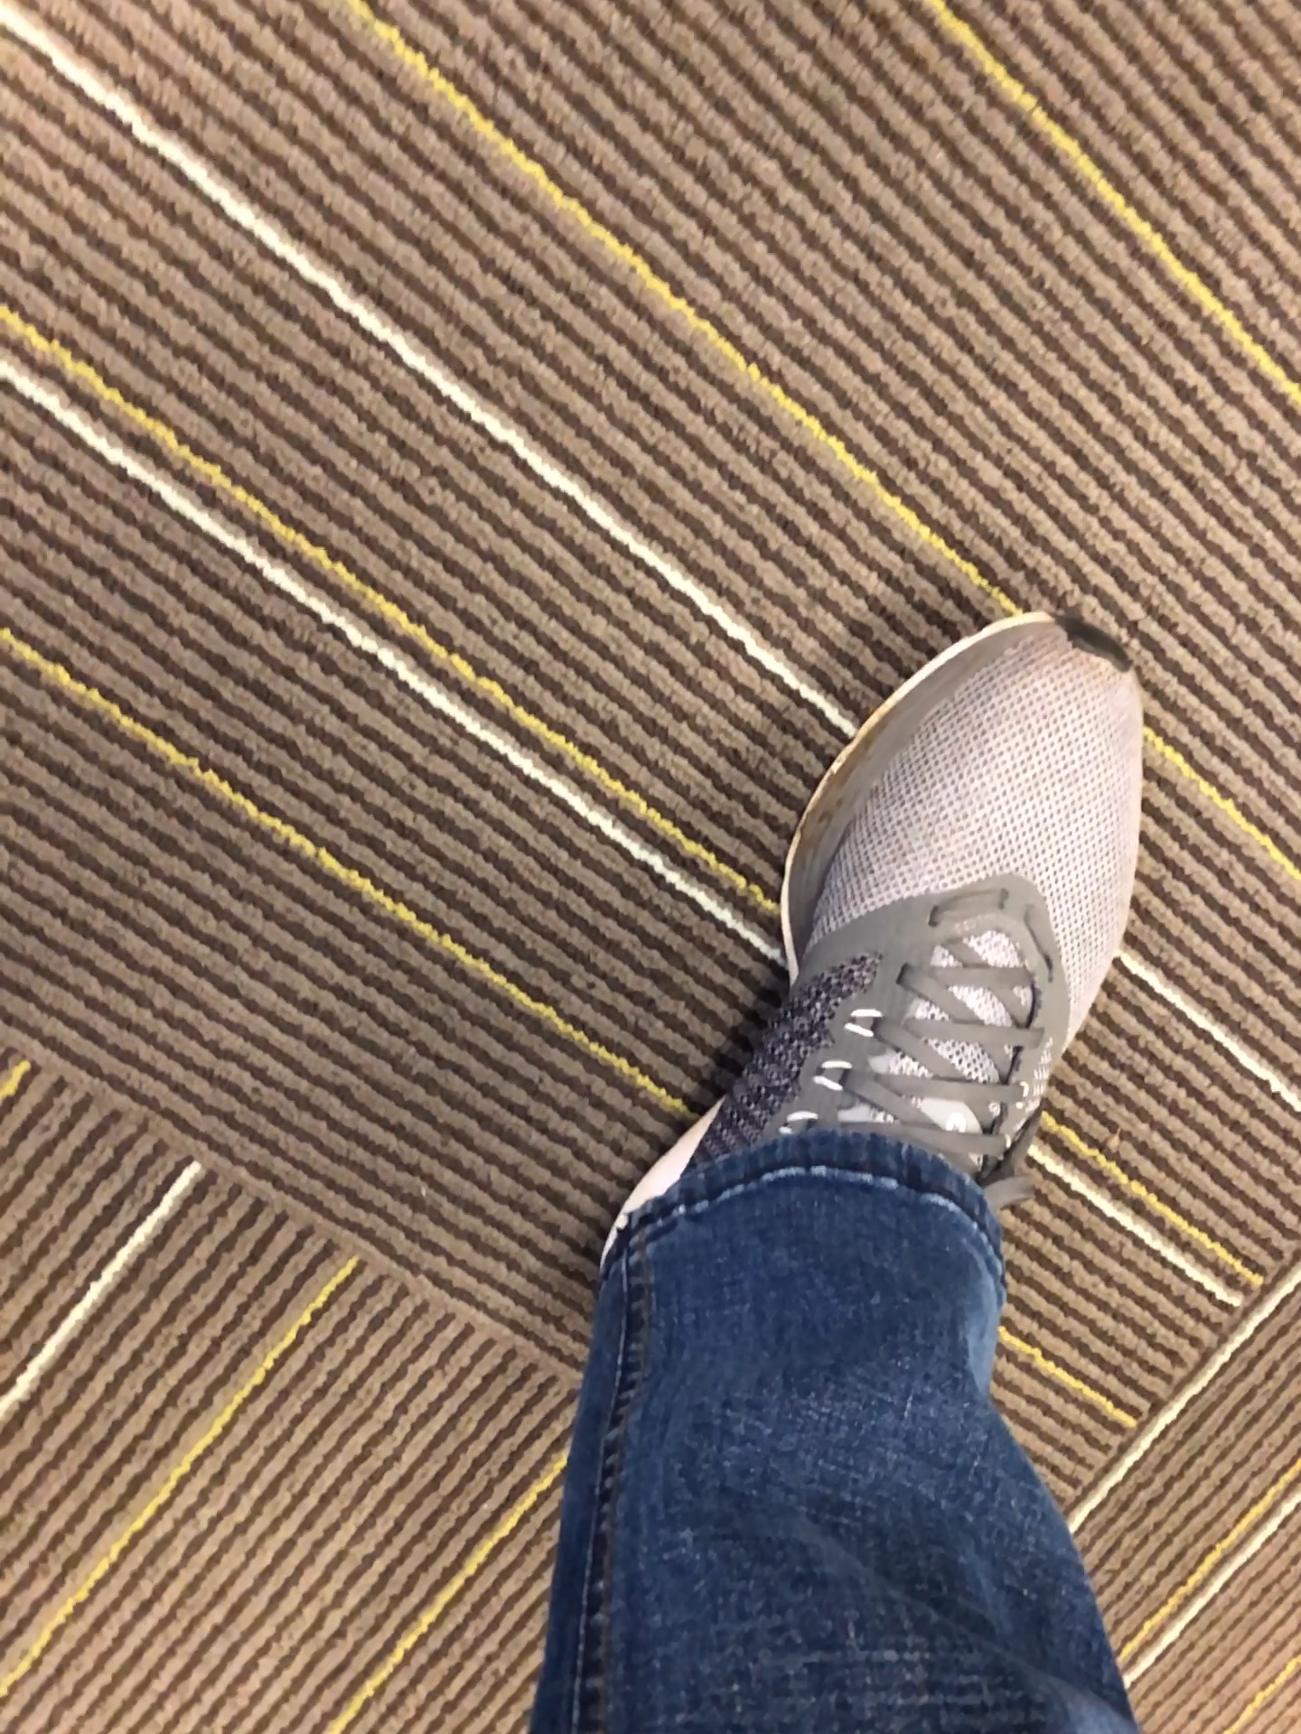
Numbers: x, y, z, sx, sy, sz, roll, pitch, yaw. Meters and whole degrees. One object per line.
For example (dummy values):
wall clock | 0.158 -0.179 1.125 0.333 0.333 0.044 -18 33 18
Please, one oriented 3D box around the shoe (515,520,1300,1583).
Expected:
shoe | 0.082 0.058 0.451 0.120 0.060 0.300 27 92 -15
